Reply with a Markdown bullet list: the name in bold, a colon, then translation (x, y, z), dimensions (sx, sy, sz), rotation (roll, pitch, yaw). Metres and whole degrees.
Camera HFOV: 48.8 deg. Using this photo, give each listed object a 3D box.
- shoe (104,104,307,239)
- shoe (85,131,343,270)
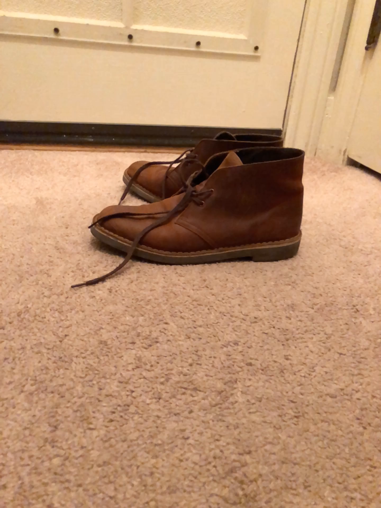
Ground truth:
- **shoe**: translation (0.015, -0.147, 0.690), dimensions (0.303, 0.138, 0.111), rotation (17, 30, 22)
- **shoe**: translation (0.020, -0.074, 0.553), dimensions (0.303, 0.138, 0.111), rotation (-2, 28, -14)
